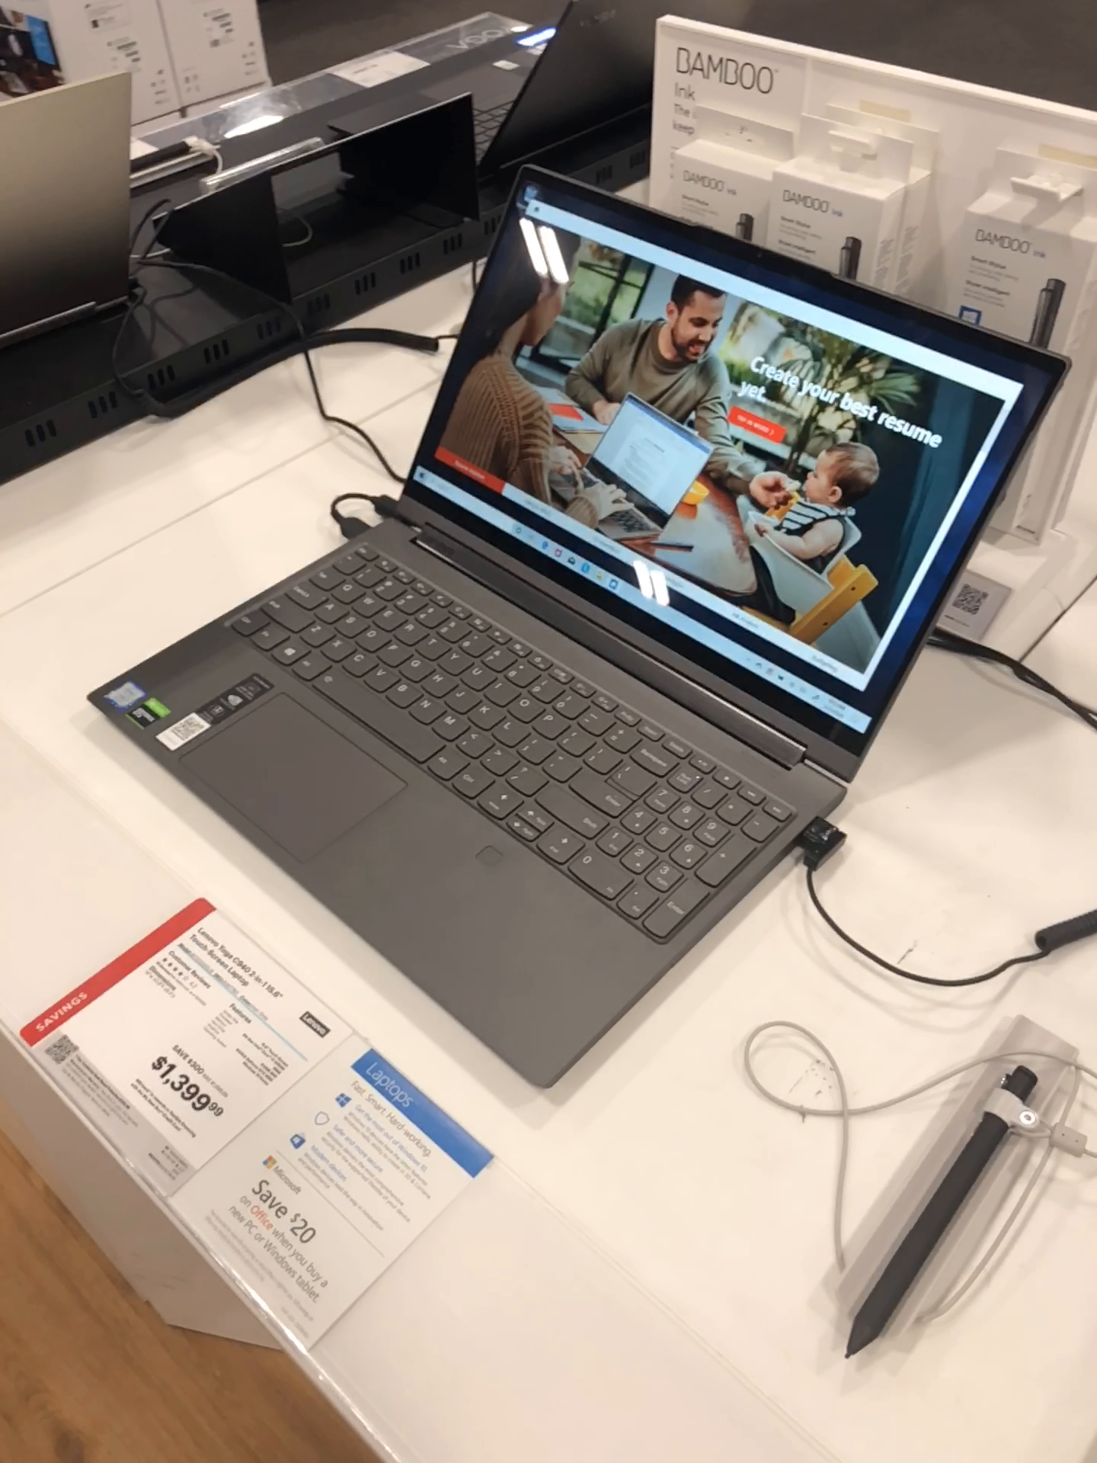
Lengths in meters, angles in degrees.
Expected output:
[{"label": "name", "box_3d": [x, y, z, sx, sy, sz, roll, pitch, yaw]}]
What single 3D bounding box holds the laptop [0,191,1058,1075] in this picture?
[{"label": "laptop", "box_3d": [-0.008, -0.093, 0.633, 0.346, 0.189, 0.368, 33, 53, 29]}]
